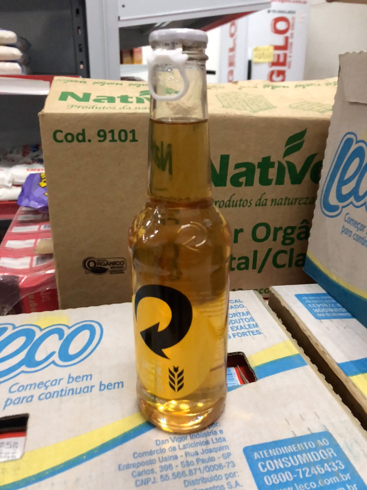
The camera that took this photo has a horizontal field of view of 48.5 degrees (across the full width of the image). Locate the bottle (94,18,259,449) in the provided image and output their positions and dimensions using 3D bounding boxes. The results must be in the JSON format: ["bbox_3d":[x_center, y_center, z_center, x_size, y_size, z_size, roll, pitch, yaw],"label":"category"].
[{"bbox_3d":[0.000,0.001,0.221,0.060,0.209,0.060,1,21,0],"label":"bottle"}]
